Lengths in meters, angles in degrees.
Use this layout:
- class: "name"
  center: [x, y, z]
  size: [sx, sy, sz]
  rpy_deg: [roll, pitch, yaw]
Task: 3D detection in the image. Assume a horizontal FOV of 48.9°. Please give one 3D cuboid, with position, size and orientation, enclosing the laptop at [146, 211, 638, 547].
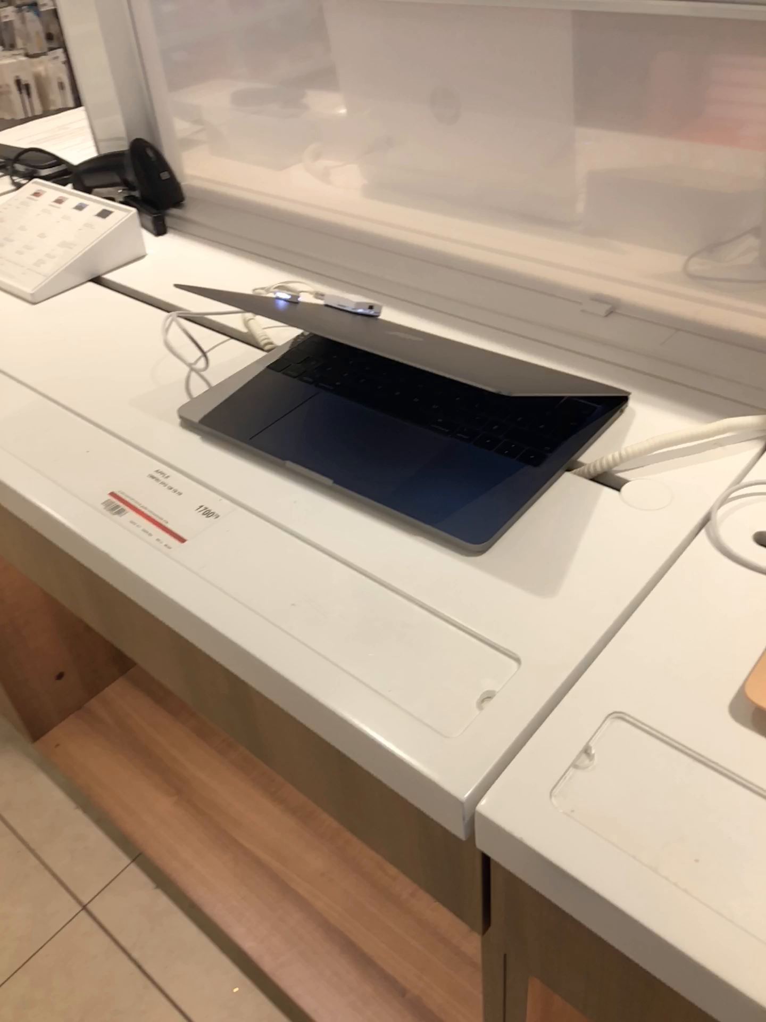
- class: "laptop"
  center: [0.004, -0.123, 0.650]
  size: [0.305, 0.104, 0.201]
  rpy_deg: [24, 47, 32]
